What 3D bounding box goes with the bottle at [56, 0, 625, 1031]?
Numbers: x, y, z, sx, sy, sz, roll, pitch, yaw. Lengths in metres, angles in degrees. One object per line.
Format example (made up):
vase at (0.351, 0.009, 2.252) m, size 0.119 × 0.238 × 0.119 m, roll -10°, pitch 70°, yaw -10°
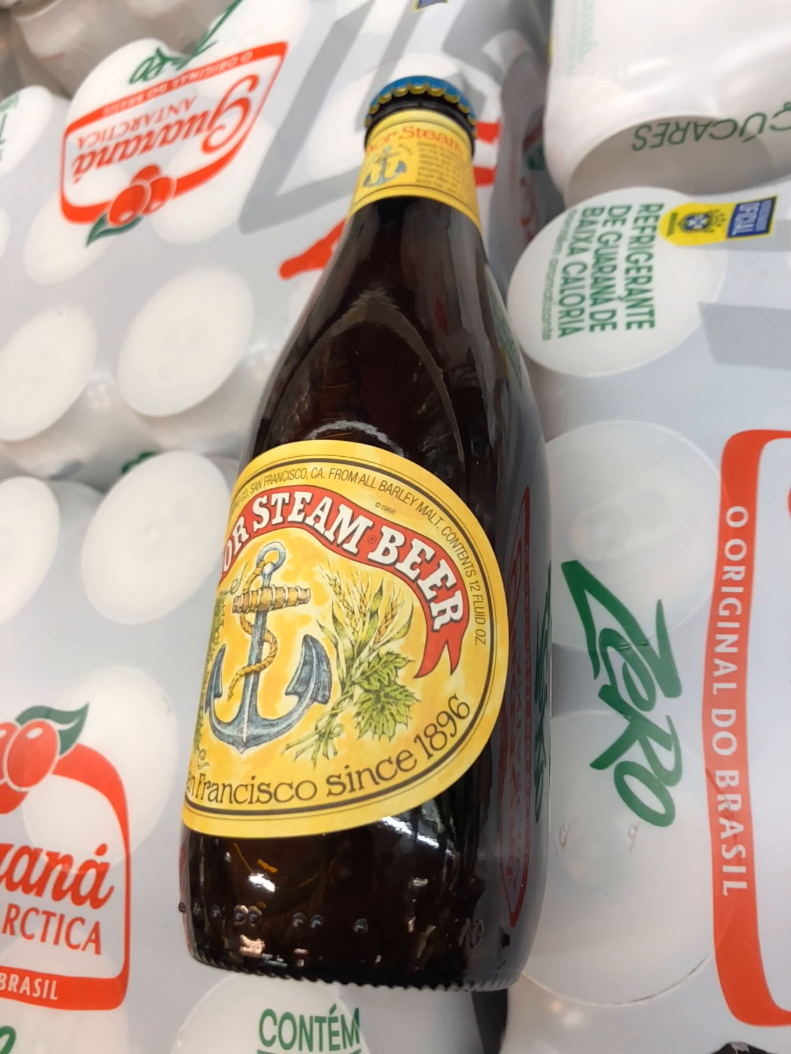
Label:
bottle at (-0.001, -0.030, 0.182) m, size 0.070 × 0.060 × 0.220 m, roll -8°, pitch 66°, yaw 27°
